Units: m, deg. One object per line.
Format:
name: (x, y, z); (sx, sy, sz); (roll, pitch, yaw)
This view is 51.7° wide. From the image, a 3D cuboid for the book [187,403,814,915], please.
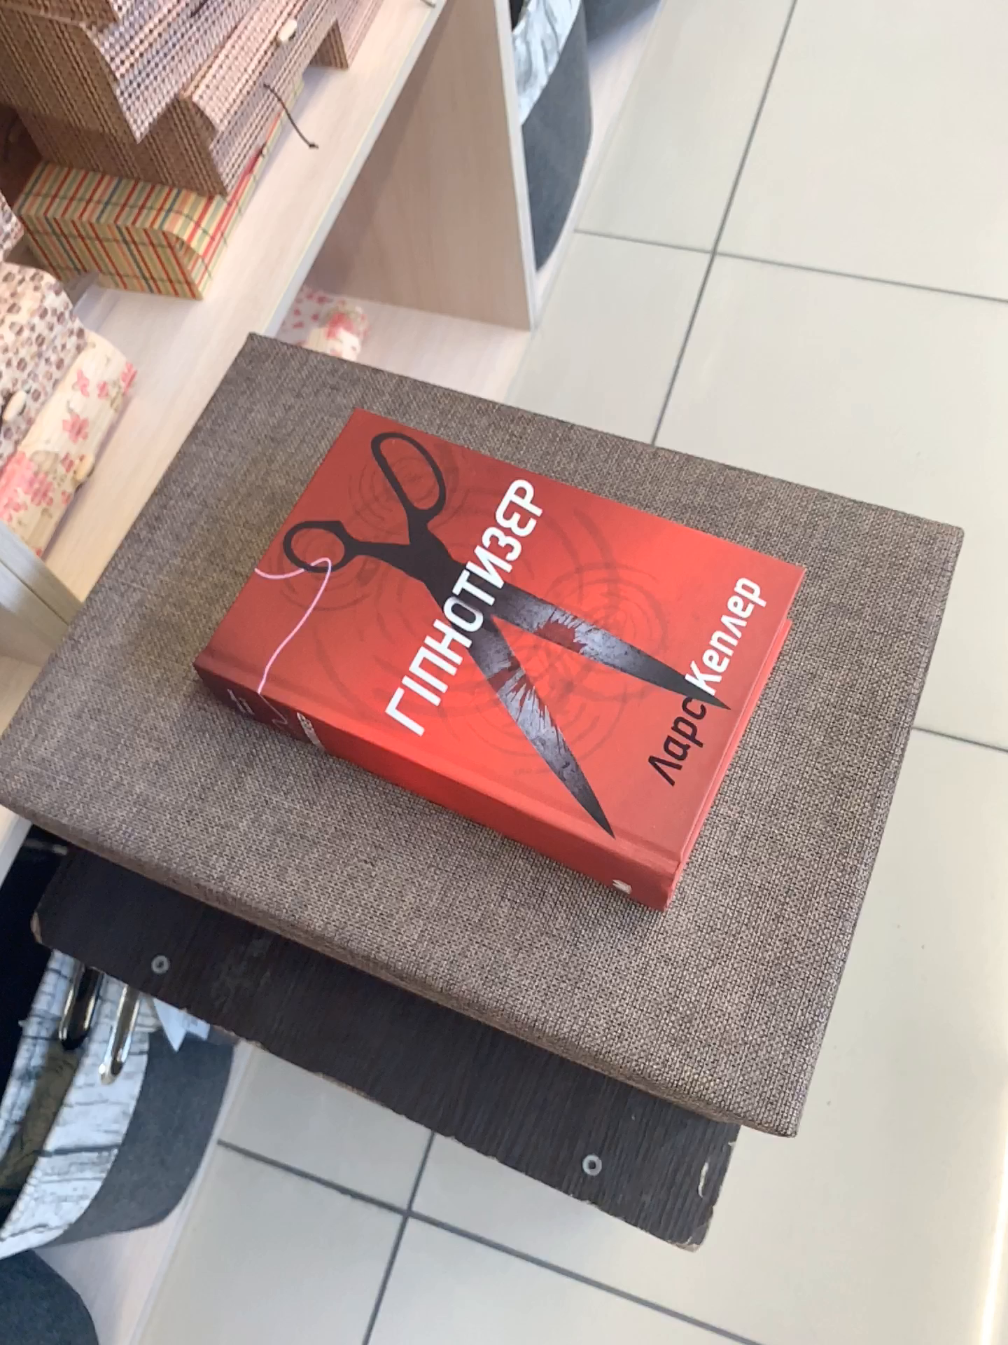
book: (0.000, -0.011, 0.407); (0.195, 0.050, 0.132); (22, 70, 14)
